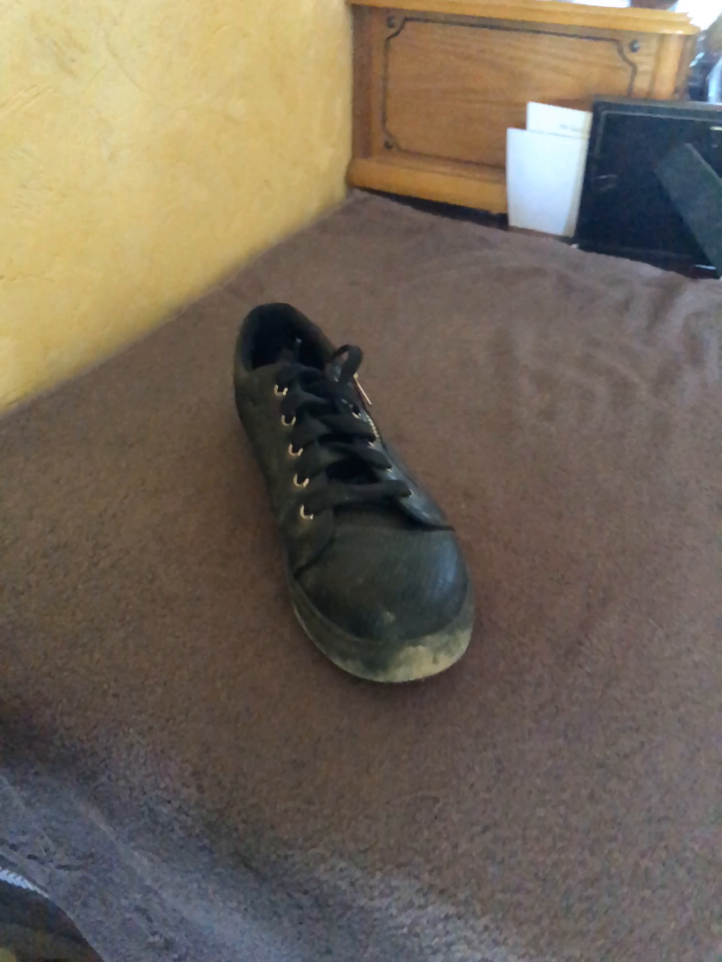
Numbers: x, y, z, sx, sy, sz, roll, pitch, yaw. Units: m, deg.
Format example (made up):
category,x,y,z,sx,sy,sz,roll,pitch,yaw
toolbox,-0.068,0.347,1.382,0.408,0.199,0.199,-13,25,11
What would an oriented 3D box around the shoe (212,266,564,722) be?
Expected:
category,x,y,z,sx,sy,sz,roll,pitch,yaw
shoe,-0.006,-0.017,0.443,0.100,0.089,0.271,-11,40,-14
